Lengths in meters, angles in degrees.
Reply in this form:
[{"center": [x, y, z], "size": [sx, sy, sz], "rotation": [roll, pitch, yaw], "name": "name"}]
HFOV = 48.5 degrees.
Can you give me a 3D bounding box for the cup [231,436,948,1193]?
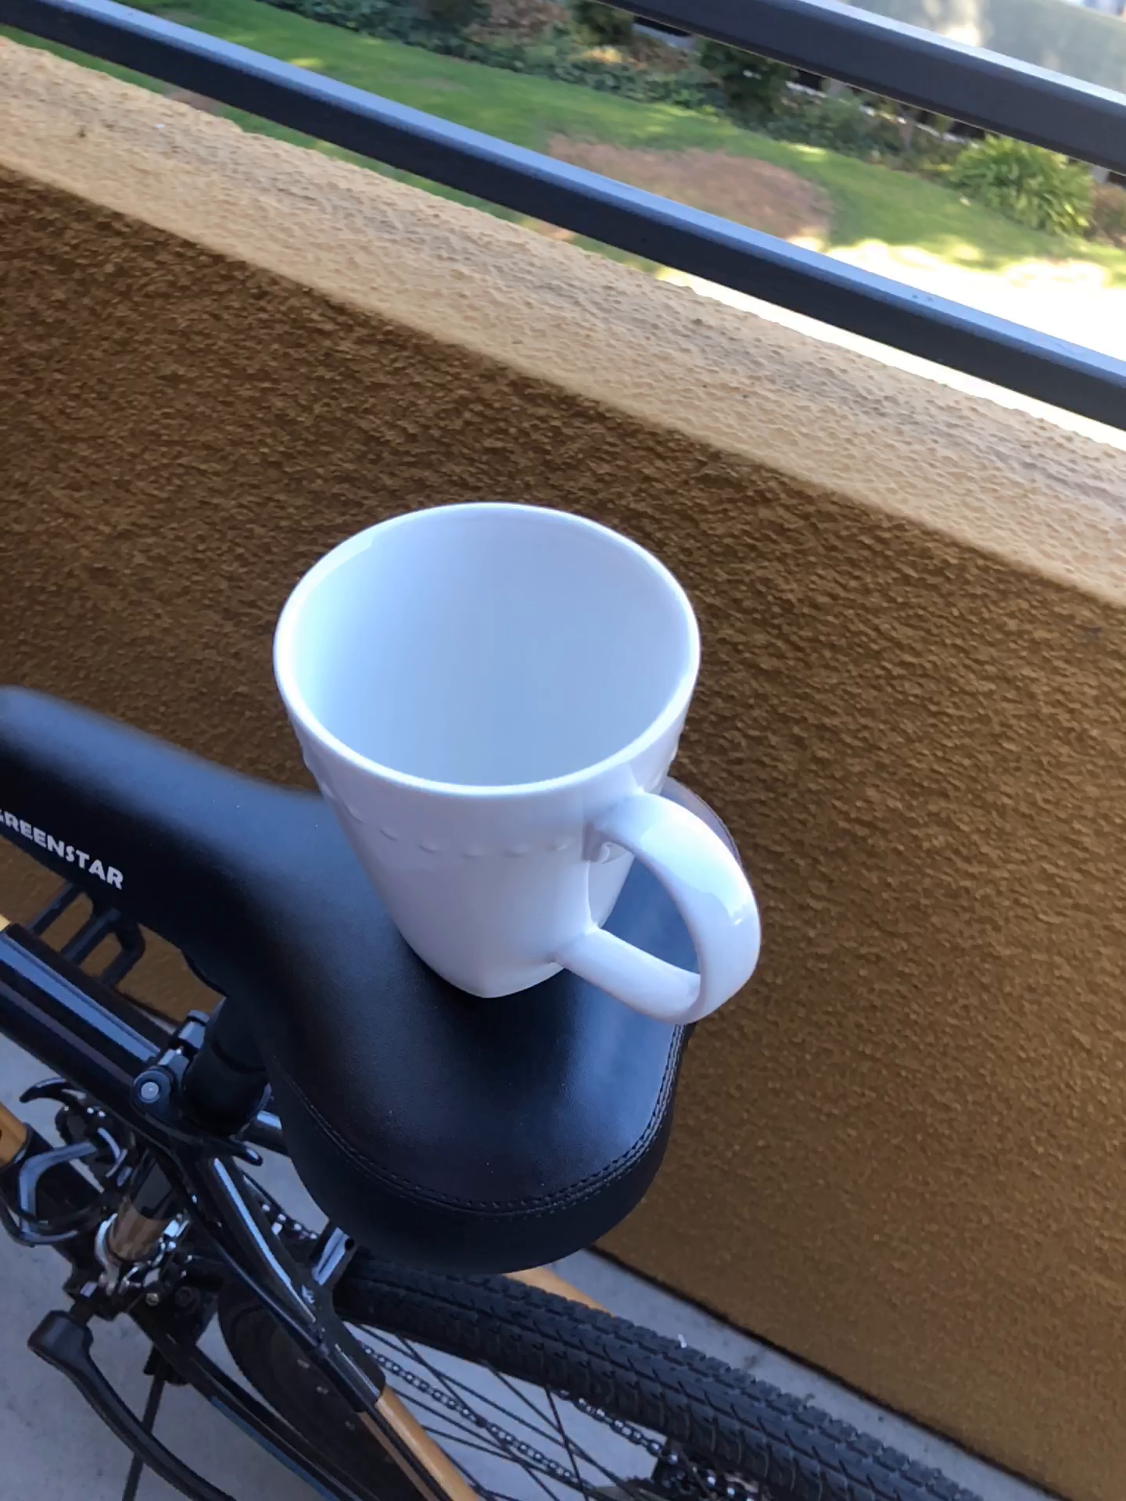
[{"center": [-0.001, 0.012, 0.307], "size": [0.130, 0.100, 0.090], "rotation": [38, 53, 22], "name": "cup"}]
